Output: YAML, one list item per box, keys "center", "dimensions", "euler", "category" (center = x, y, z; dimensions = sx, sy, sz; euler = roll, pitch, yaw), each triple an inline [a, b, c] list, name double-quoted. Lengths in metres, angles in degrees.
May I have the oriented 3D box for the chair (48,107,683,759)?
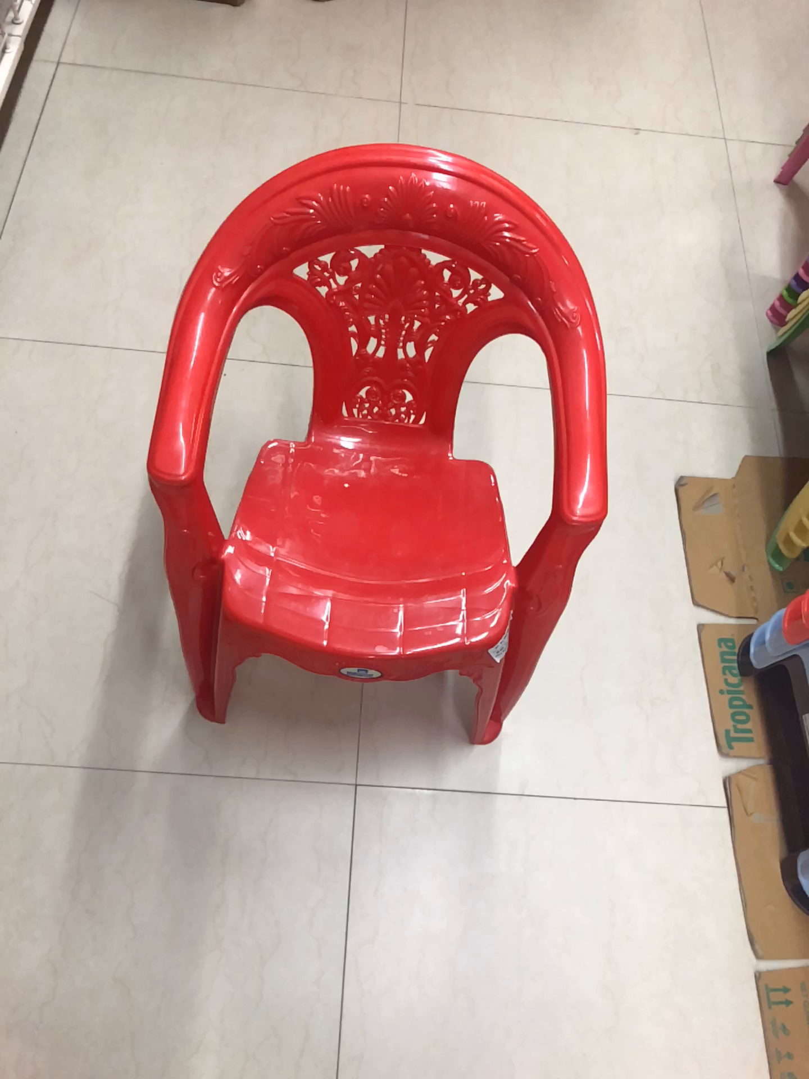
- center: [-0.032, -0.046, 0.854]
  dimensions: [0.390, 0.508, 0.371]
  euler: [5, 63, -3]
  category: "chair"
